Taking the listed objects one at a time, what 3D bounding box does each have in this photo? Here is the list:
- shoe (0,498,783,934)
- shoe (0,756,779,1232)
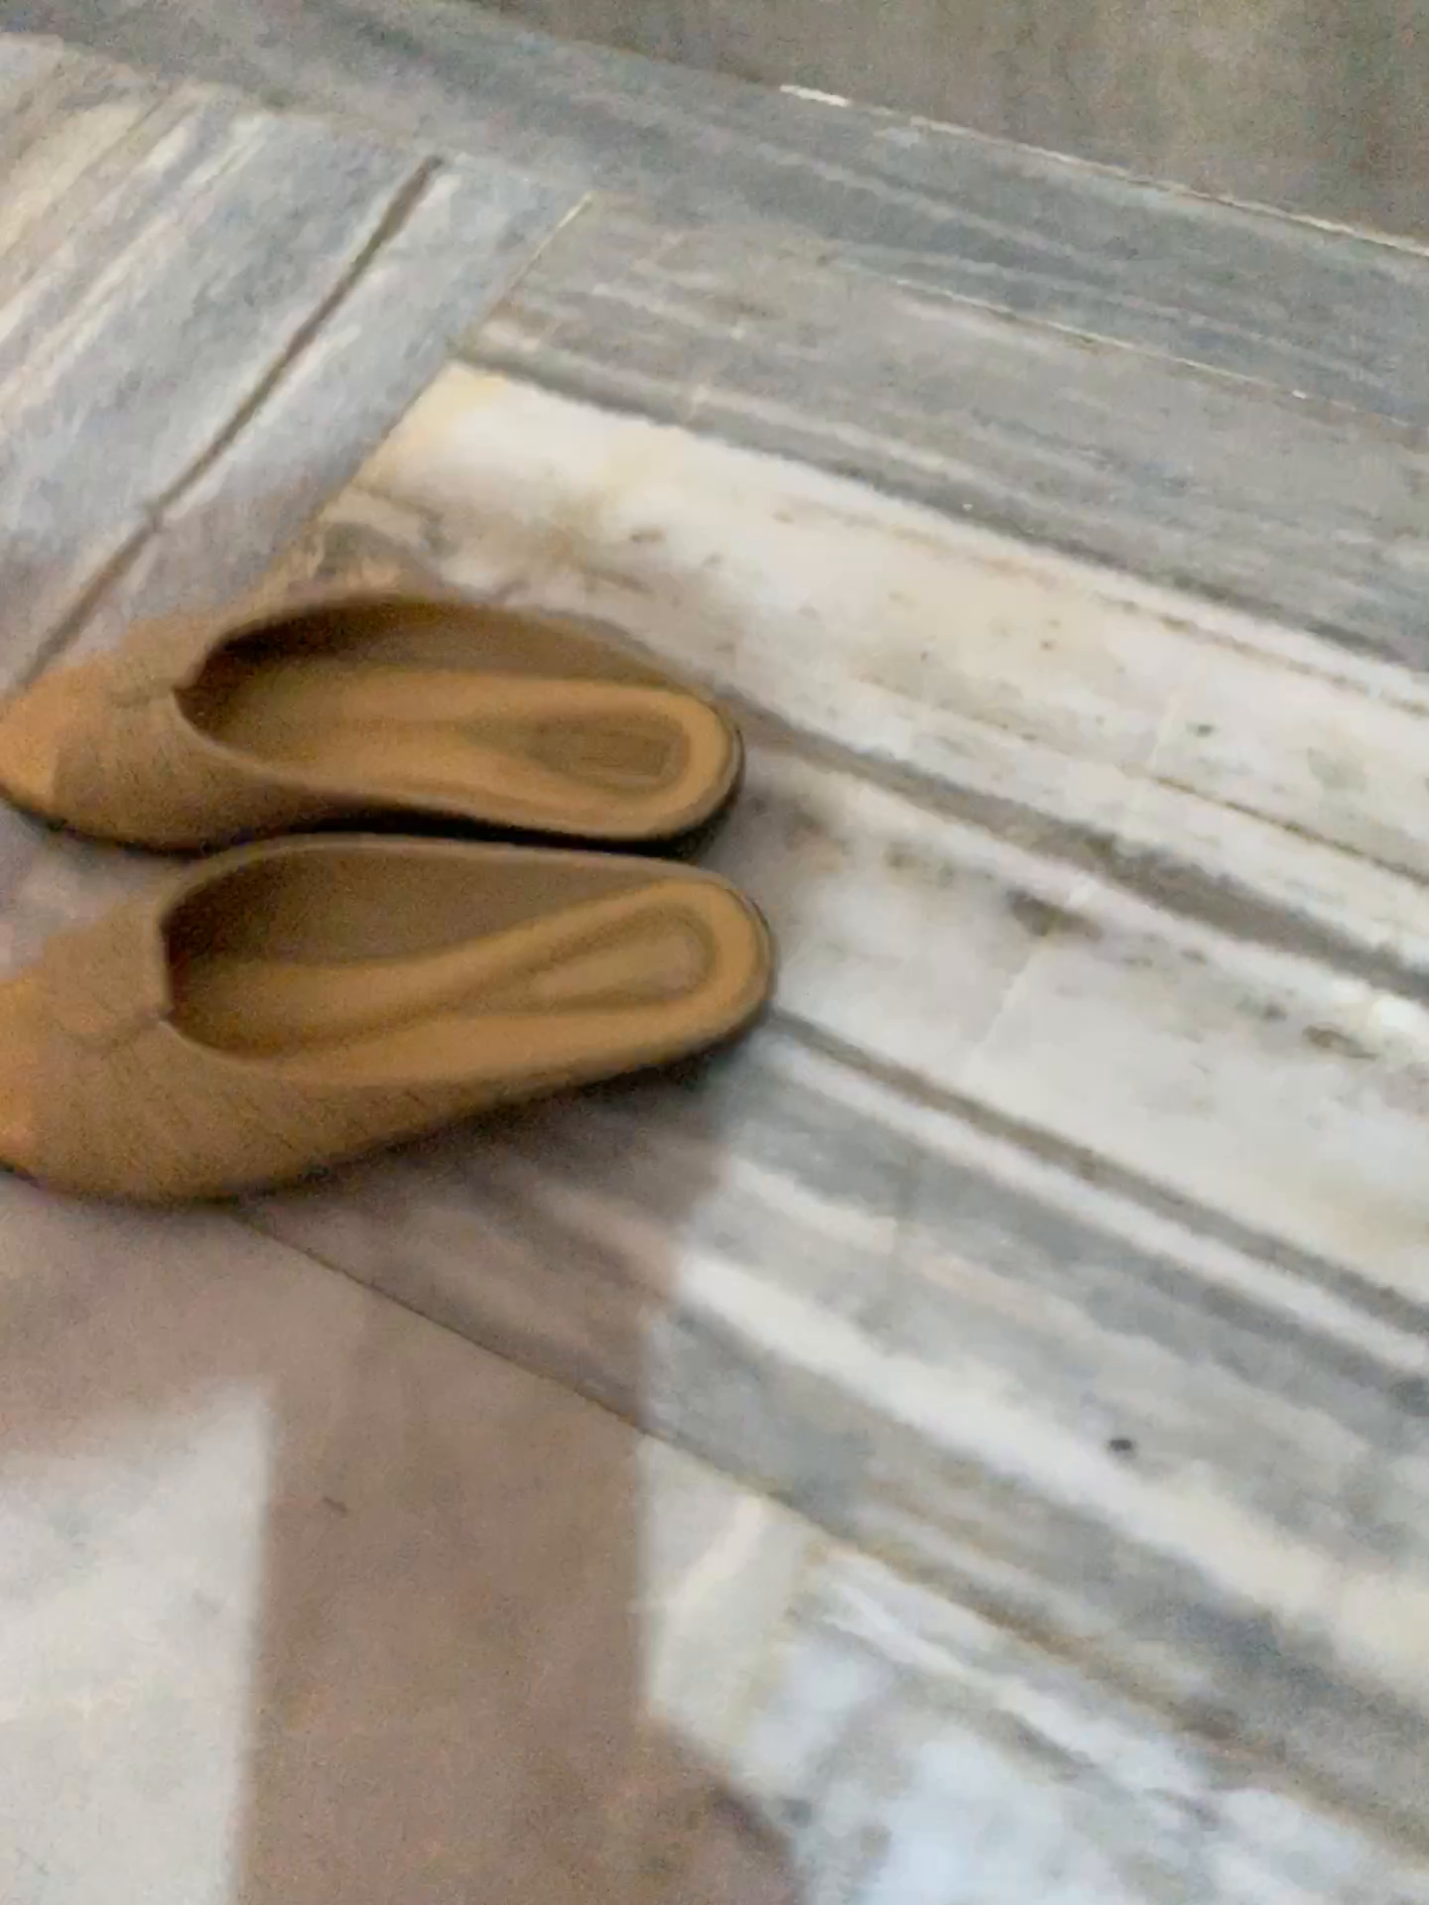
[{"bbox_3d":[-0.120,-0.077,0.475,0.274,0.070,0.095,5,62,6],"label":"shoe"},{"bbox_3d":[-0.116,0.014,0.433,0.260,0.070,0.095,-5,62,1],"label":"shoe"}]
